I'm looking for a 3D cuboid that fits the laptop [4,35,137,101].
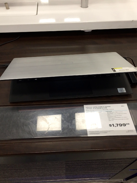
[{"bbox_3d":[0.006,-0.070,0.507,0.331,0.074,0.169,-4,51,0],"label":"laptop"}]
